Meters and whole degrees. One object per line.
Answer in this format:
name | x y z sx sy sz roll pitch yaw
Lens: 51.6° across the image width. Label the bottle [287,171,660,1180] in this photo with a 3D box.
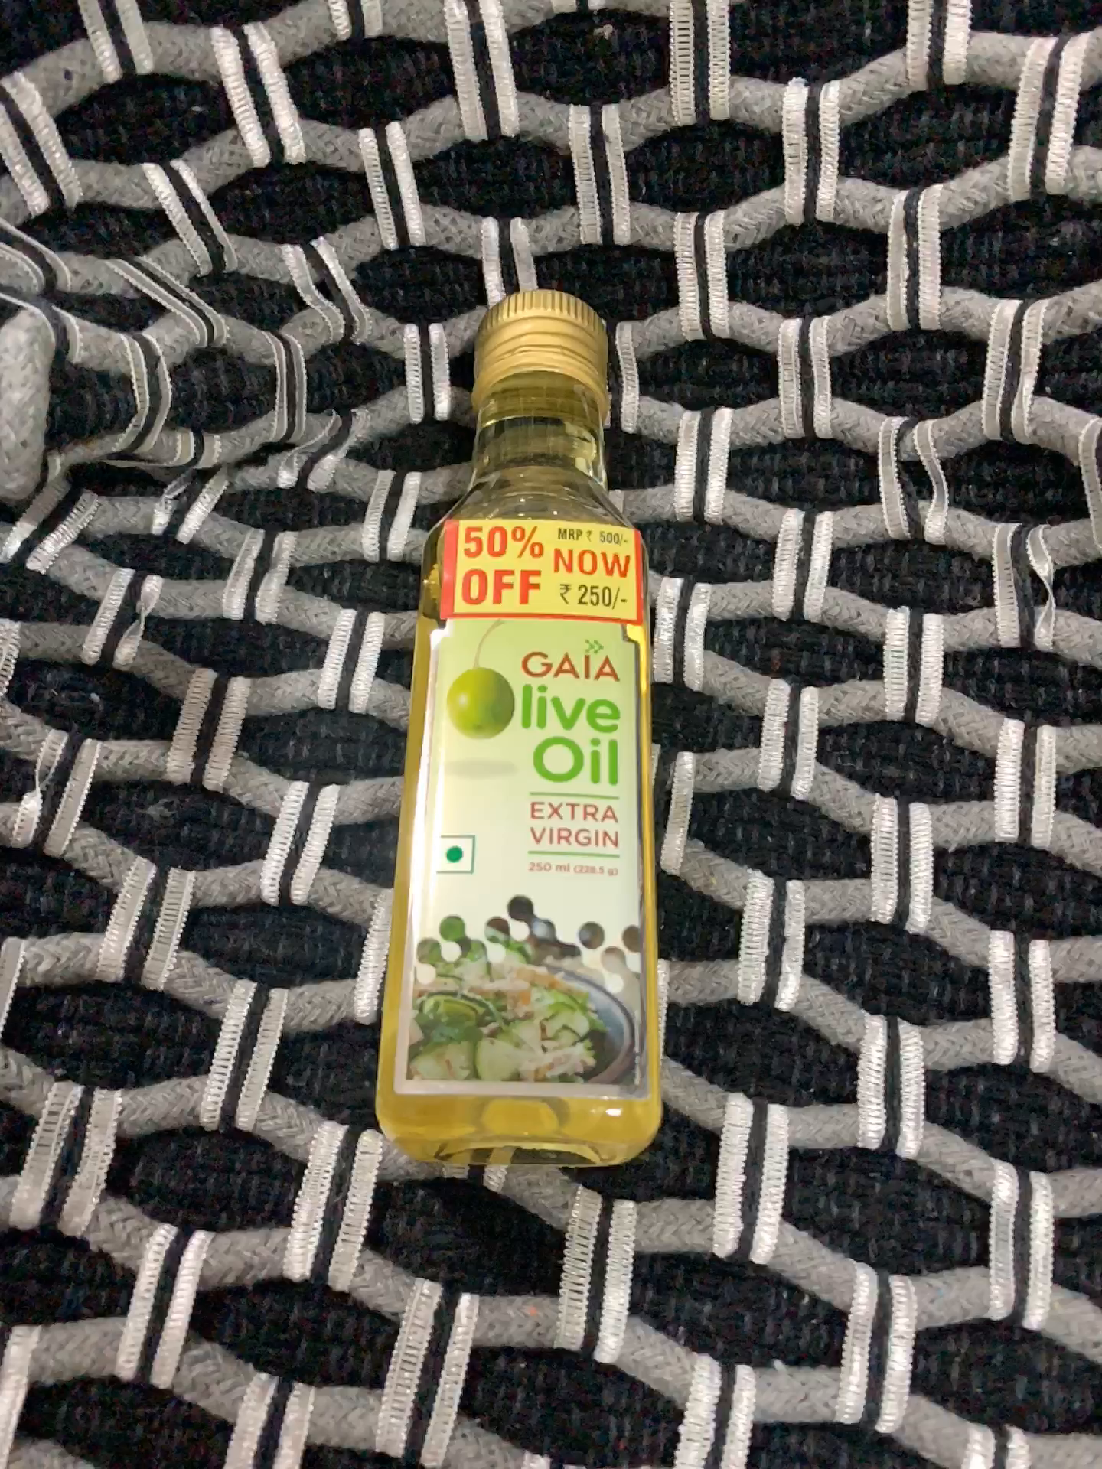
bottle | -0.008 -0.020 0.217 0.050 0.050 0.190 2 64 0
